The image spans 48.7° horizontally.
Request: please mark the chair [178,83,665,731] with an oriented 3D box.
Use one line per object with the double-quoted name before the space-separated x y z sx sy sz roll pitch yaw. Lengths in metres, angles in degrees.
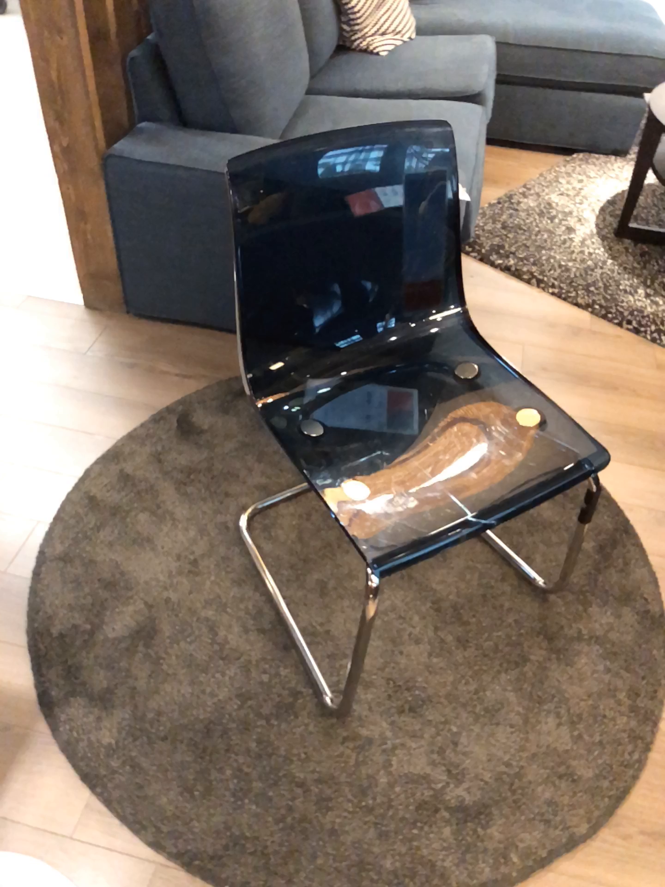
"chair" 0.142 -0.049 1.277 0.581 0.867 0.501 -22 50 -24
